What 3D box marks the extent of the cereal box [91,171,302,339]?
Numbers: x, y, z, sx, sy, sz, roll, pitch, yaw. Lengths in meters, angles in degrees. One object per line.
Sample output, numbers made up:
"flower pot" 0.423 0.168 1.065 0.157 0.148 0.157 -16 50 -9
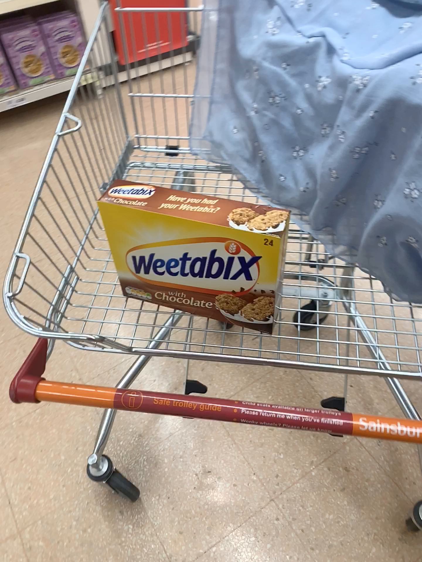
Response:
"cereal box" -0.018 -0.032 0.591 0.250 0.188 0.060 14 50 14
